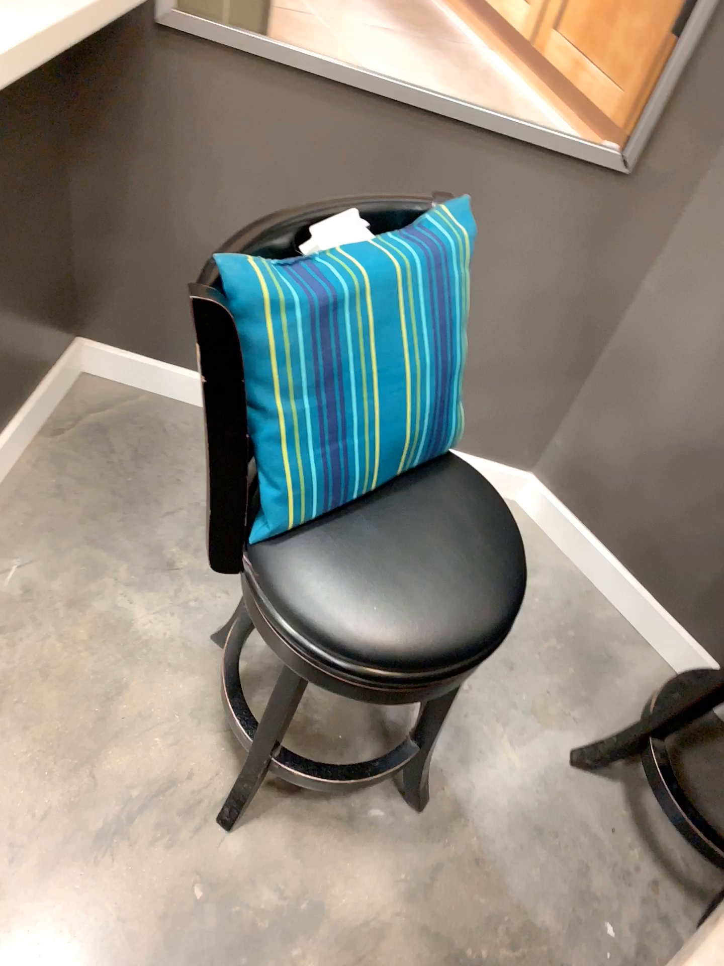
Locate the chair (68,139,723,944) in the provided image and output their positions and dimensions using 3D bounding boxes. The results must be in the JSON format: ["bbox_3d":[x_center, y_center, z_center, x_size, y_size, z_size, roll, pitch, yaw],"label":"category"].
[{"bbox_3d":[-0.020,0.108,1.061,0.536,0.904,0.597,-20,57,-32],"label":"chair"}]

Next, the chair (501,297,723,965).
[{"bbox_3d":[0.770,0.307,1.172,0.536,0.924,0.597,-20,57,-32],"label":"chair"}]
